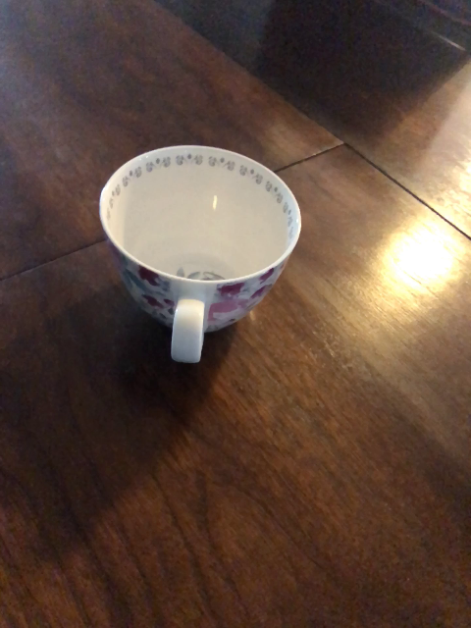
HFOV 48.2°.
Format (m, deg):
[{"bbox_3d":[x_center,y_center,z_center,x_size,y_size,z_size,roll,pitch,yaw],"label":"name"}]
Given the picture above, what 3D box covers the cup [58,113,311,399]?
[{"bbox_3d":[-0.023,-0.041,0.326,0.120,0.070,0.160,7,51,-3],"label":"cup"}]
